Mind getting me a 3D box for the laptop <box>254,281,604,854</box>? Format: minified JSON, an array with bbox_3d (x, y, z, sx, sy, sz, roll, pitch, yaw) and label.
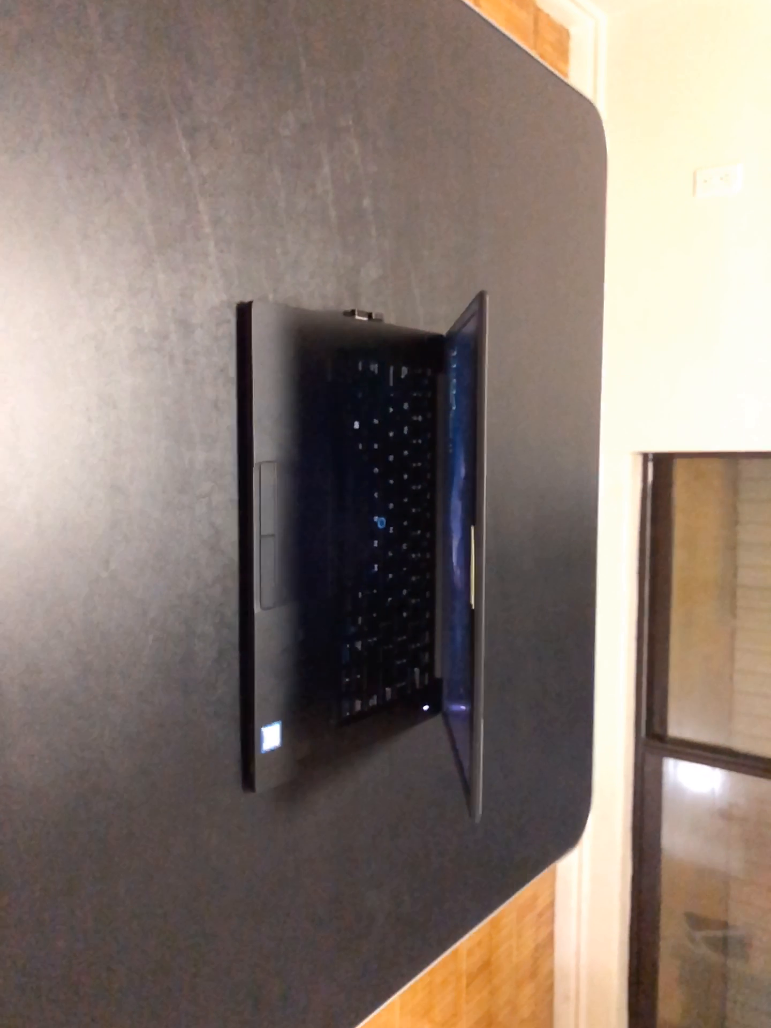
[{"bbox_3d":[0.038,0.021,0.600,0.221,0.142,0.318,-5,97,-52],"label":"laptop"}]
